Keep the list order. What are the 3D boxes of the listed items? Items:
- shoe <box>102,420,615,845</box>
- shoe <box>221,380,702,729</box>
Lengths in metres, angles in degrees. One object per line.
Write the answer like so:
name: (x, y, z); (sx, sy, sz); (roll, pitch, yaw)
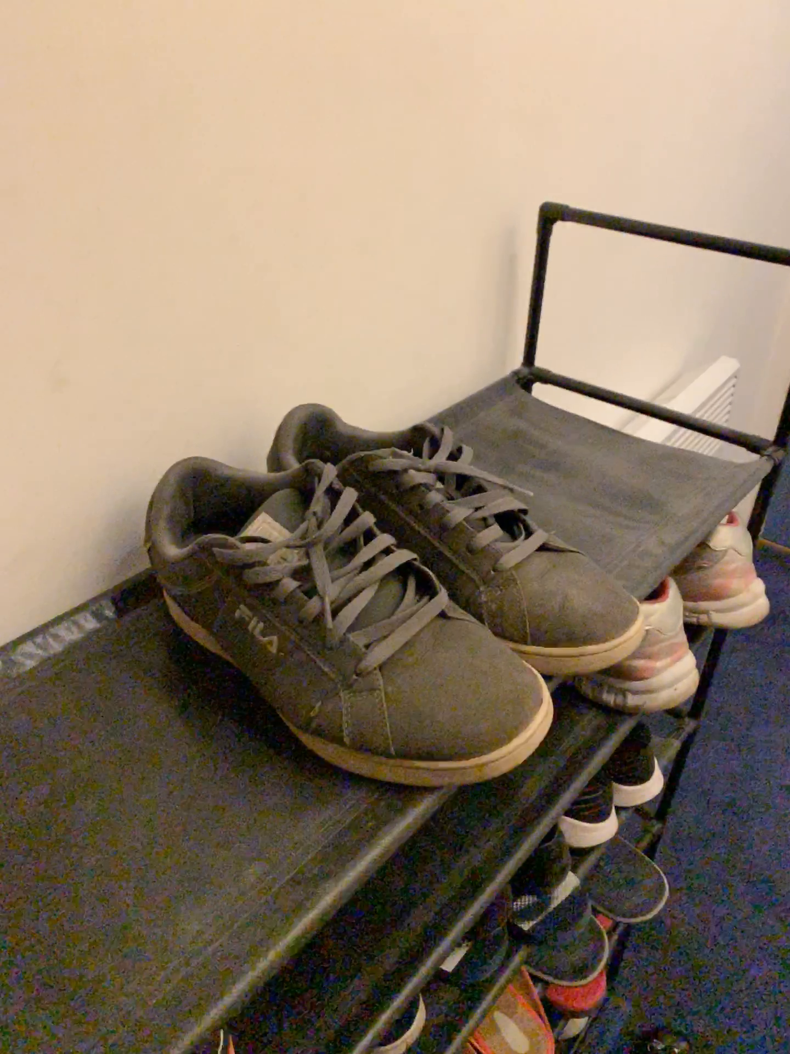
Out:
shoe: (-0.031, 0.036, 0.461); (0.271, 0.079, 0.121); (26, 44, 34)
shoe: (0.030, -0.003, 0.547); (0.301, 0.079, 0.121); (26, 44, 34)
